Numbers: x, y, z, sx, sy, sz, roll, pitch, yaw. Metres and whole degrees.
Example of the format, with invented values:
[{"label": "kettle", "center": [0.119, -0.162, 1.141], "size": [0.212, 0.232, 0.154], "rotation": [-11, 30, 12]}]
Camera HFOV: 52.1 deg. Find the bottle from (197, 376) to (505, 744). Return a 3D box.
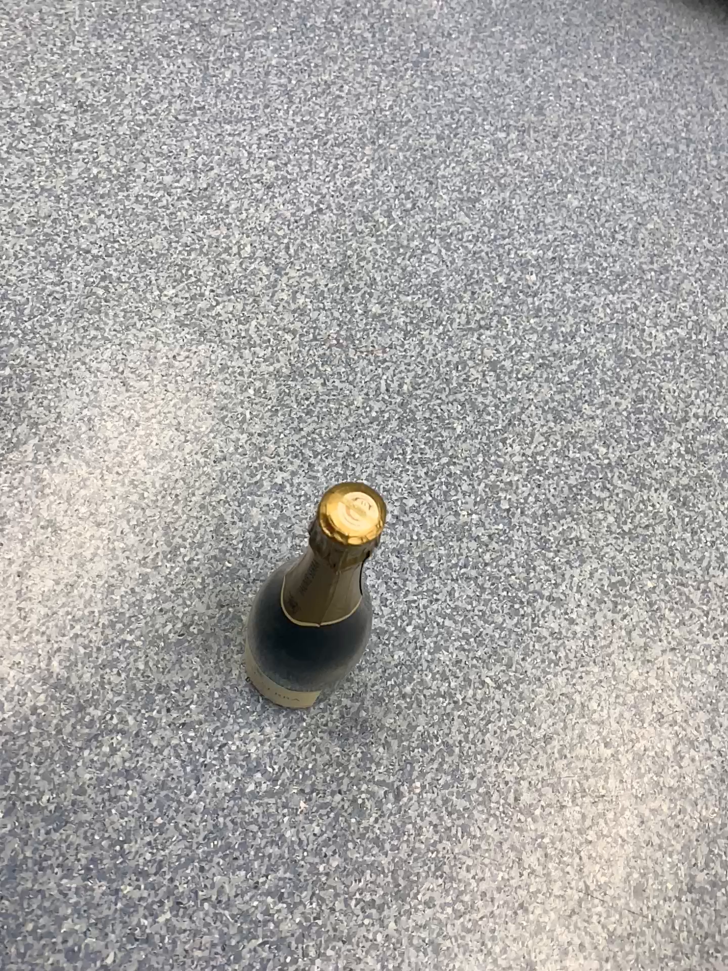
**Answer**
[{"label": "bottle", "center": [-0.029, 0.072, 0.481], "size": [0.105, 0.292, 0.104], "rotation": [4, 64, -9]}]
